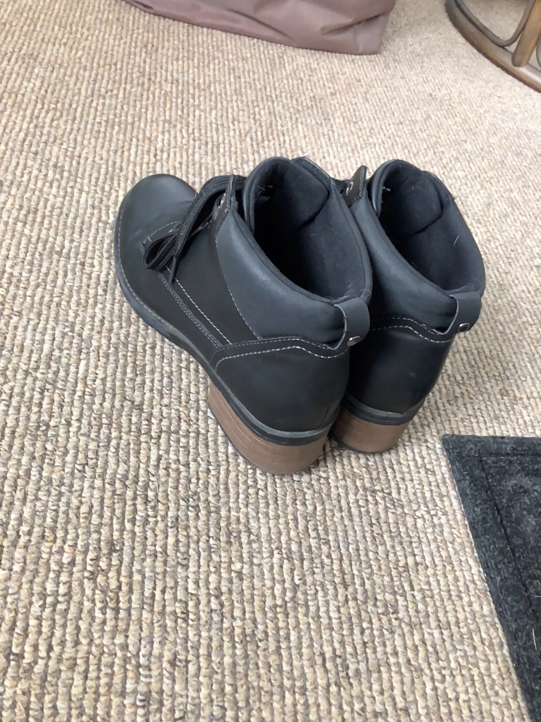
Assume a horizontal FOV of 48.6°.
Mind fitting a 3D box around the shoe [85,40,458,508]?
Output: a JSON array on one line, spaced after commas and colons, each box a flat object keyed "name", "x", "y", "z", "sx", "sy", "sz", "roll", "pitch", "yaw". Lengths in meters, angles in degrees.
[{"name": "shoe", "x": -0.029, "y": -0.068, "z": 0.410, "sx": 0.097, "sy": 0.165, "sz": 0.267, "roll": -16, "pitch": 58, "yaw": -30}]

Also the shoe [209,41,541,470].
[{"name": "shoe", "x": 0.054, "y": -0.087, "z": 0.449, "sx": 0.095, "sy": 0.161, "sz": 0.274, "roll": -8, "pitch": 54, "yaw": -25}]
